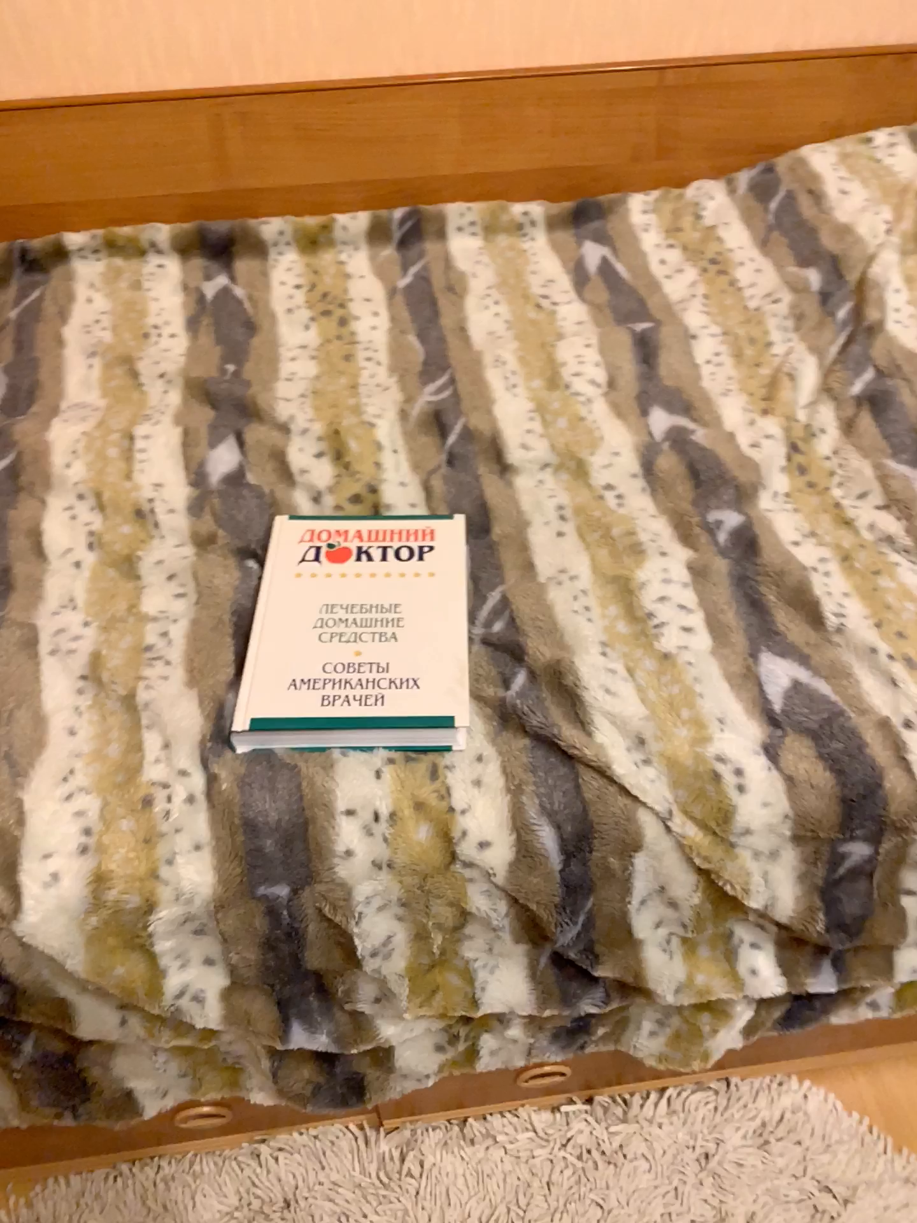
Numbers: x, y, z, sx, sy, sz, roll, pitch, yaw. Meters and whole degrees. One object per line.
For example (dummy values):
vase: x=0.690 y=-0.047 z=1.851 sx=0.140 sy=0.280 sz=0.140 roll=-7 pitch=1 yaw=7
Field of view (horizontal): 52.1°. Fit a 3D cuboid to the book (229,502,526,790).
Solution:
book: x=-0.052 y=0.016 z=0.695 sx=0.190 sy=0.040 sz=0.242 roll=-1 pitch=48 yaw=0
